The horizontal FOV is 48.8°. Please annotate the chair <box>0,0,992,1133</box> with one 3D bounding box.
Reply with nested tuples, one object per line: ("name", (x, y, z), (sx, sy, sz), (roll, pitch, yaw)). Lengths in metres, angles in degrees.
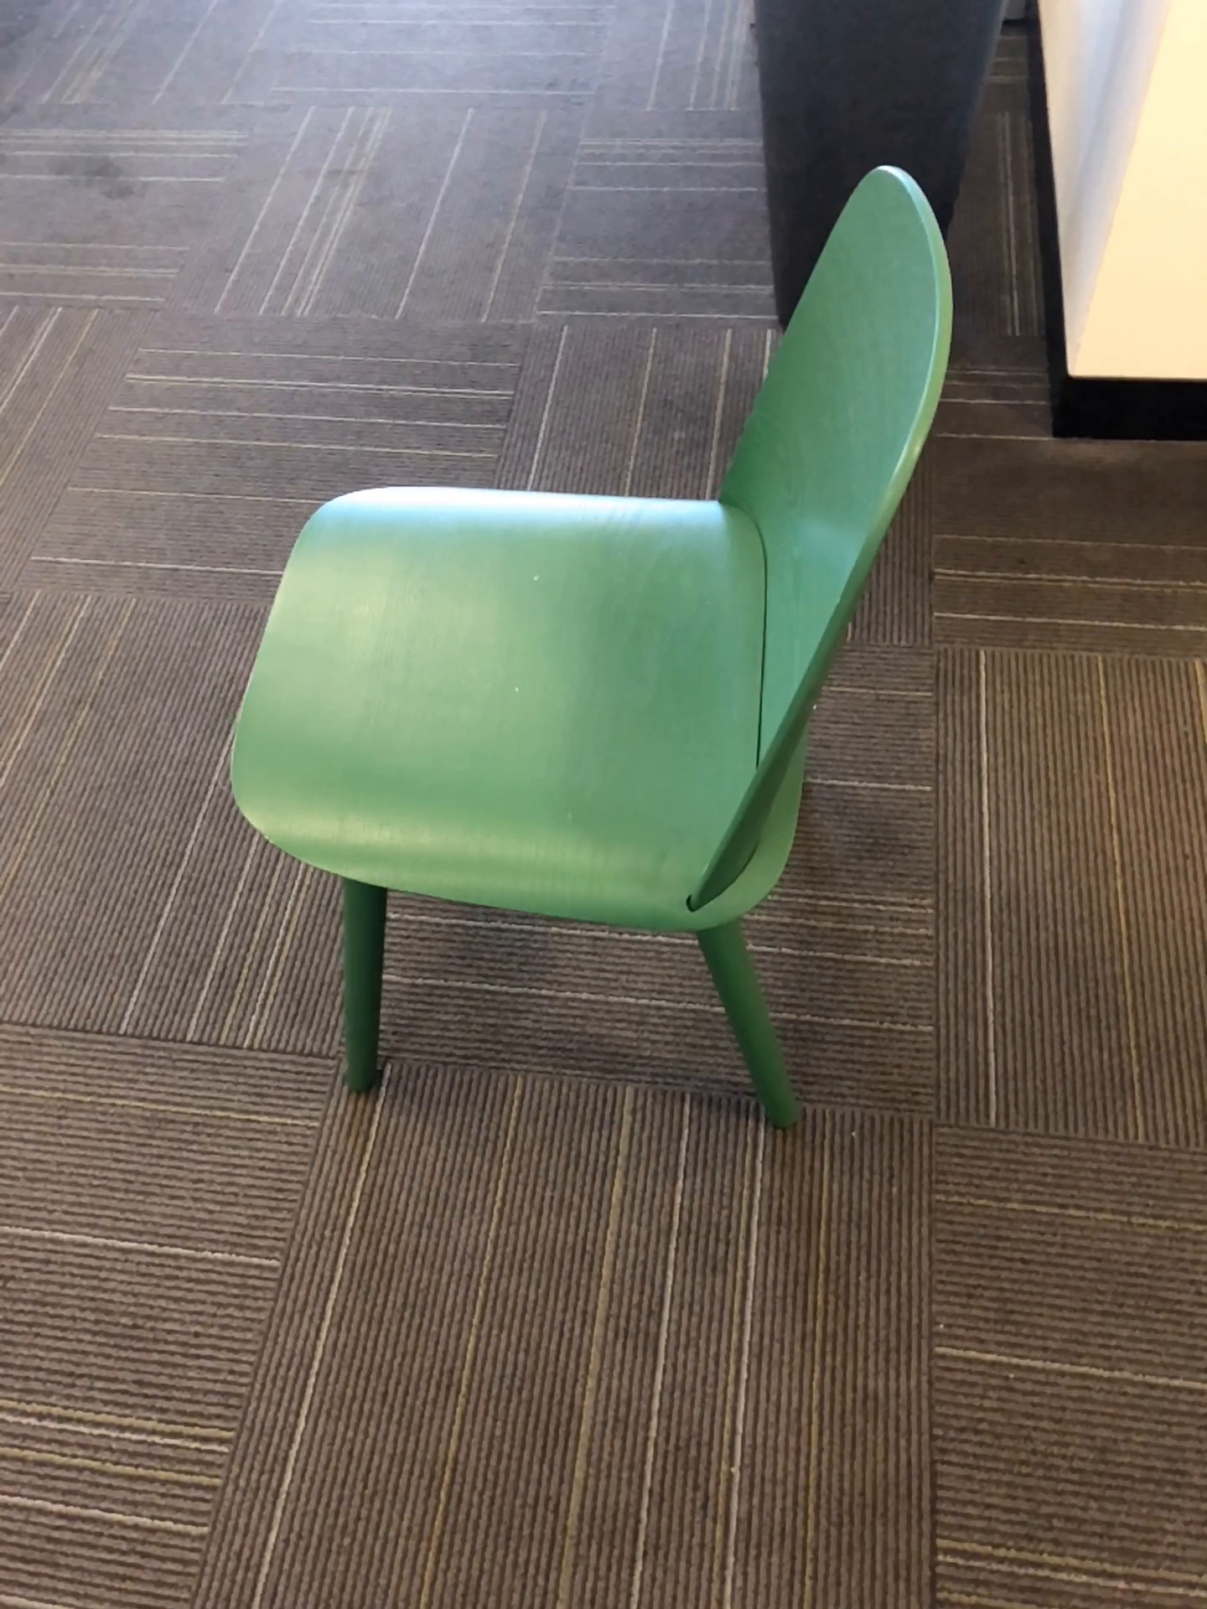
("chair", (-0.024, -0.135, 1.085), (0.500, 0.777, 0.502), (2, 55, 6))
